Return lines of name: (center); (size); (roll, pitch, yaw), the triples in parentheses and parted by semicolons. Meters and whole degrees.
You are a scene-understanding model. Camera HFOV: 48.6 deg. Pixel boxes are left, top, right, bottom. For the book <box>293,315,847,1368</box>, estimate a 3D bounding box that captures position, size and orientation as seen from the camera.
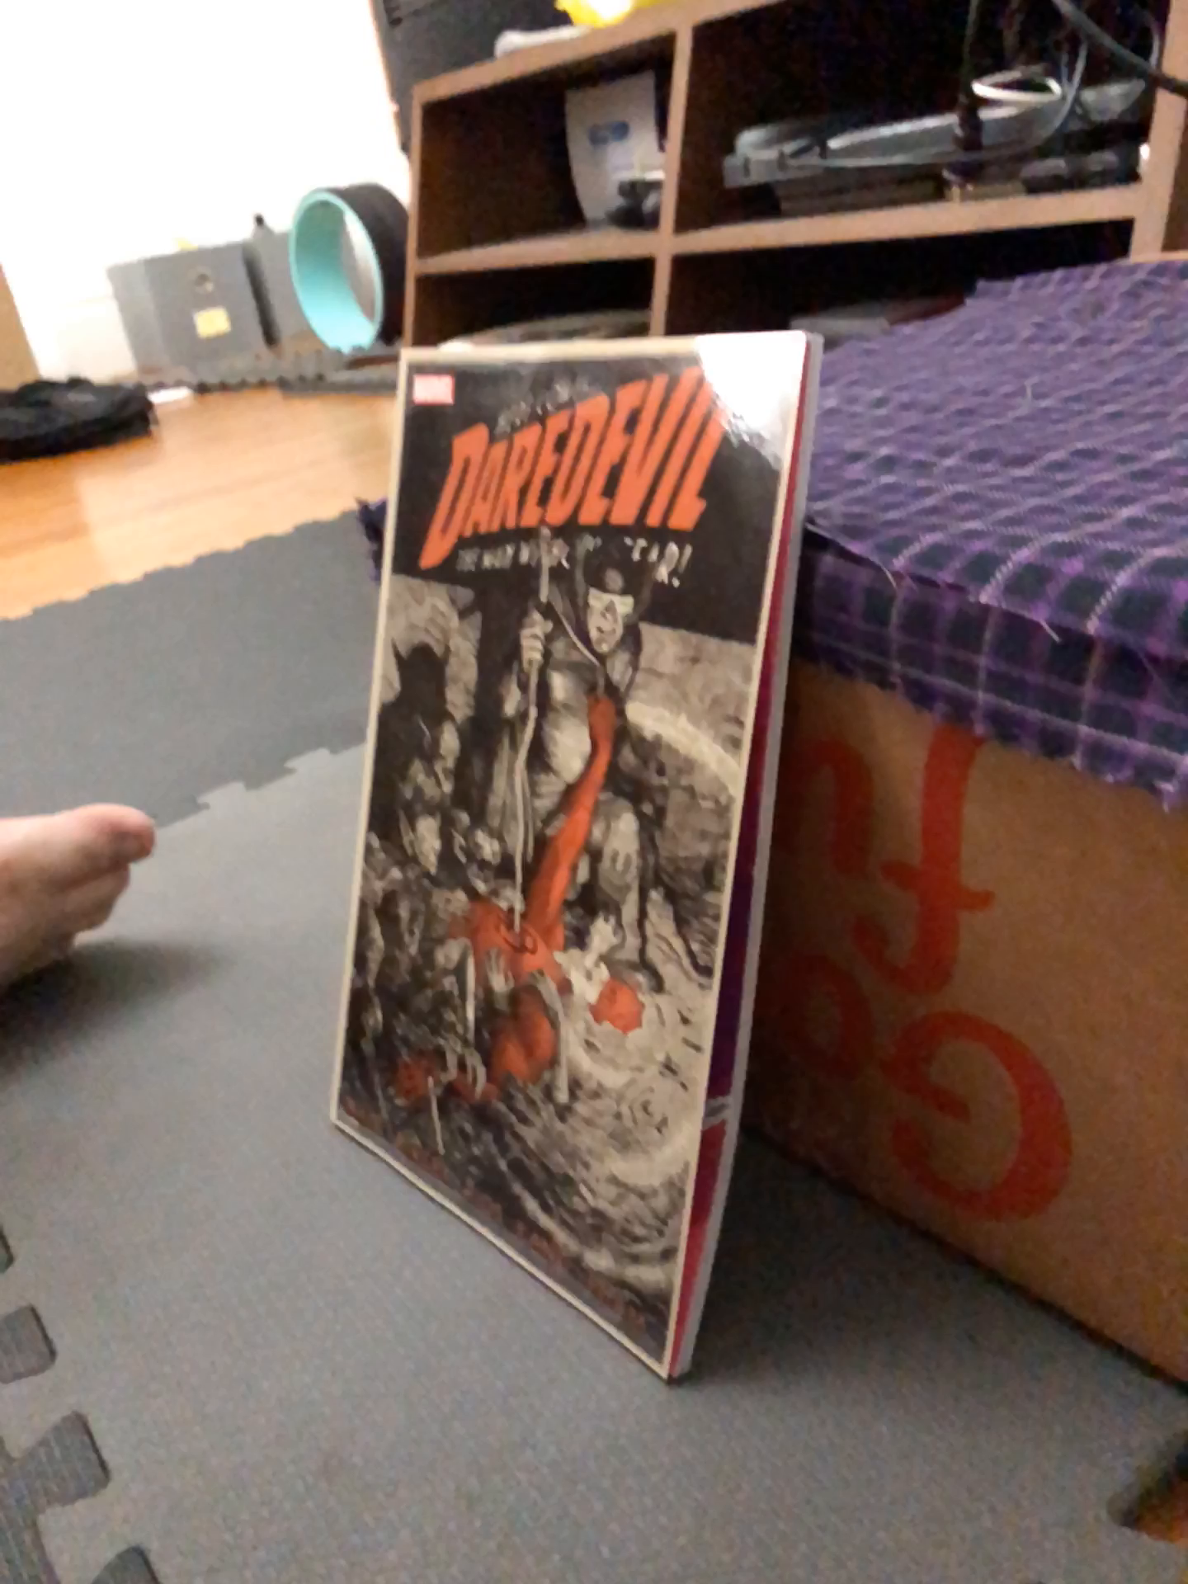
book: (-0.021, 0.001, 0.342); (0.020, 0.229, 0.160); (-3, 15, -42)
